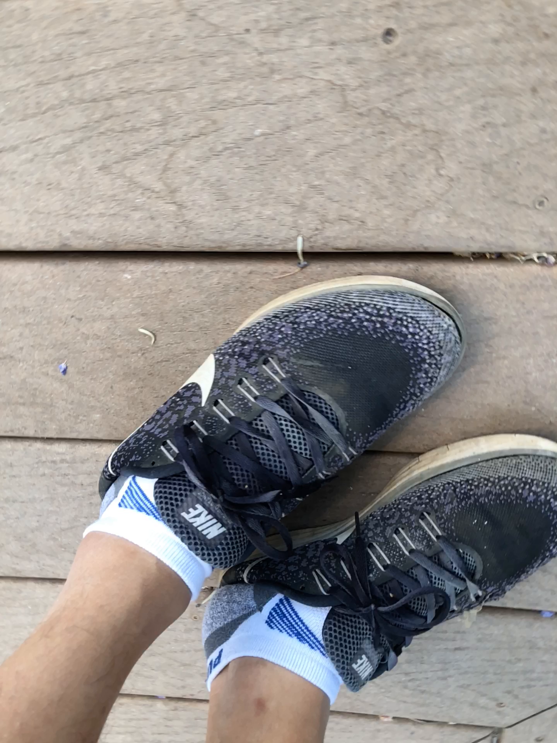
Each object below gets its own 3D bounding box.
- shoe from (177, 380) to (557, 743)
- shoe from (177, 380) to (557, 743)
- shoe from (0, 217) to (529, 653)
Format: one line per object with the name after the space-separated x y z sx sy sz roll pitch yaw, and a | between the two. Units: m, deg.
0.082 0.140 0.420 0.270 0.100 0.120 -32 109 19 | shoe
0.082 0.140 0.420 0.270 0.100 0.120 -32 109 19 | shoe
-0.018 0.051 0.395 0.300 0.090 0.120 -35 108 20 | shoe
